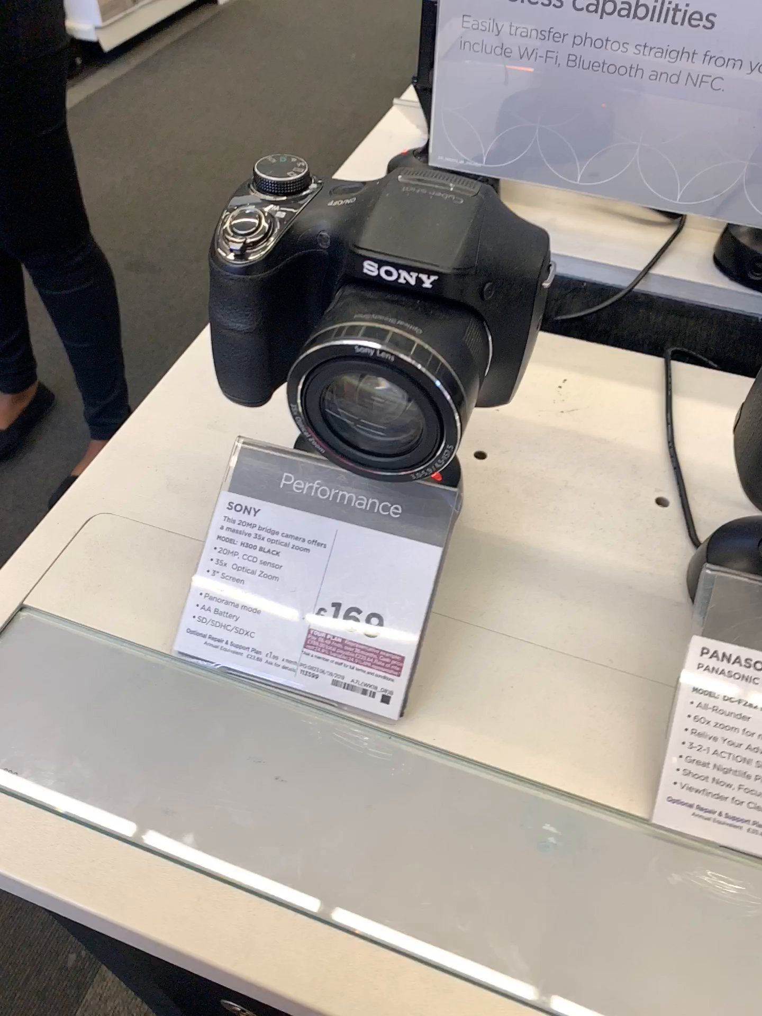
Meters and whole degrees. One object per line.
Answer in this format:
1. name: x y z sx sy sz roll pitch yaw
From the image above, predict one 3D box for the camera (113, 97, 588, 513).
1. camera: -0.006 -0.077 0.287 0.130 0.089 0.091 16 50 12
